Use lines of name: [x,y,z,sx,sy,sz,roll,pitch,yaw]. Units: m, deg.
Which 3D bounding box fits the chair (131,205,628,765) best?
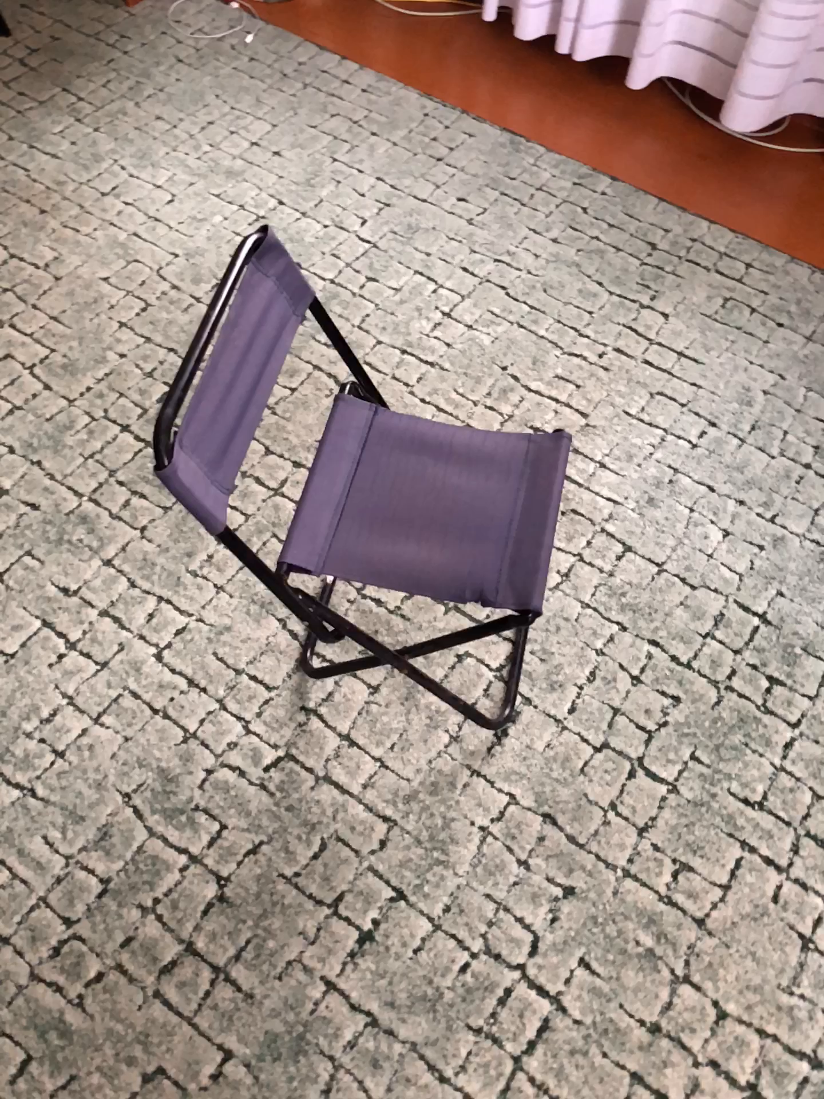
chair: [-0.021,-0.040,1.069,0.398,0.537,0.343,11,57,4]
